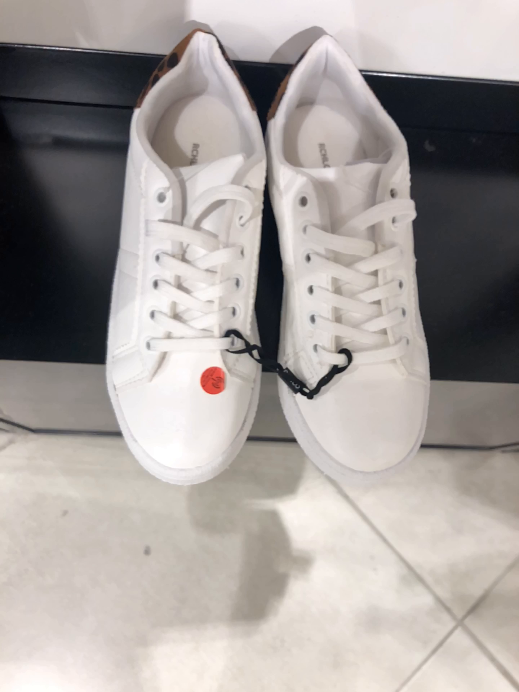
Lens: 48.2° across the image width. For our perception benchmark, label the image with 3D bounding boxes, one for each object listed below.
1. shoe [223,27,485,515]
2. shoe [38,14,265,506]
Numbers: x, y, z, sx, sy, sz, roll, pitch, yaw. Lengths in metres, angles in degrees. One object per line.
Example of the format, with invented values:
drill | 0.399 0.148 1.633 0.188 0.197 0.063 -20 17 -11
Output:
shoe | 0.036 -0.034 0.308 0.090 0.100 0.220 -5 80 -5
shoe | -0.047 -0.036 0.300 0.090 0.100 0.220 0 80 -4
